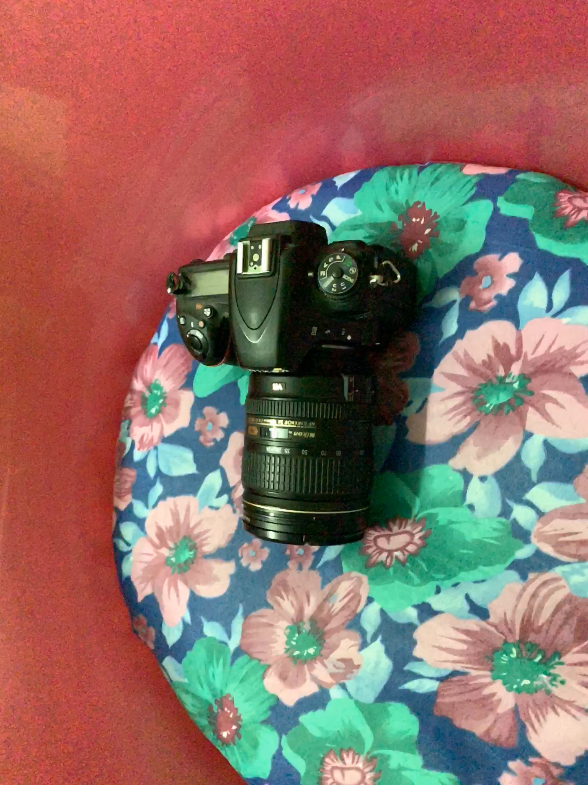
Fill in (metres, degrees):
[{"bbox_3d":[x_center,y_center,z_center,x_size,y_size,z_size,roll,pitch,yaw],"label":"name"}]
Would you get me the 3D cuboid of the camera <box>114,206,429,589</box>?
[{"bbox_3d":[-0.011,0.003,0.368,0.141,0.110,0.179,3,87,34],"label":"camera"}]
